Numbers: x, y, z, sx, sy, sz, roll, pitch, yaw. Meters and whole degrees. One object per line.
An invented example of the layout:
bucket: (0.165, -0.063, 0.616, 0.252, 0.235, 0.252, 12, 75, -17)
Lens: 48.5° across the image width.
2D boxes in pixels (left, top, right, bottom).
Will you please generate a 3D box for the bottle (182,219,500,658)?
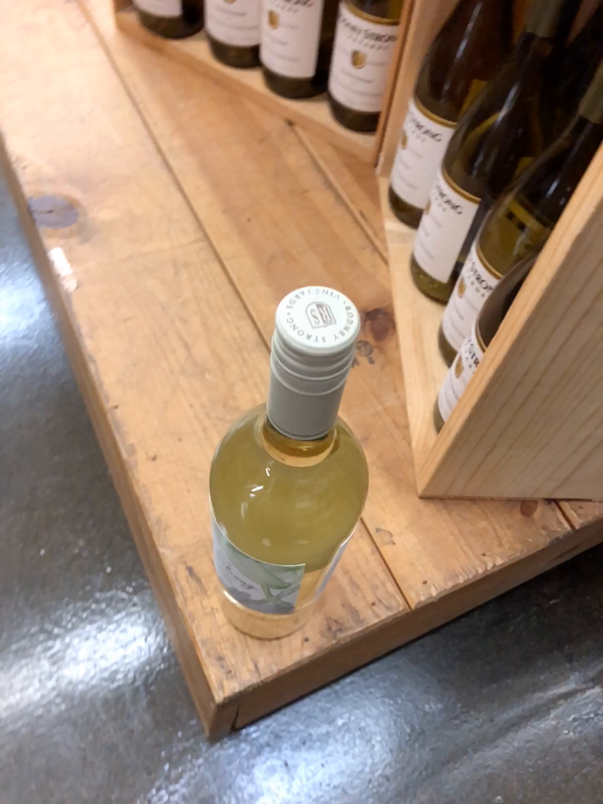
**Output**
bottle: (-0.002, 0.049, 0.334, 0.079, 0.284, 0.073, 3, 58, -5)
